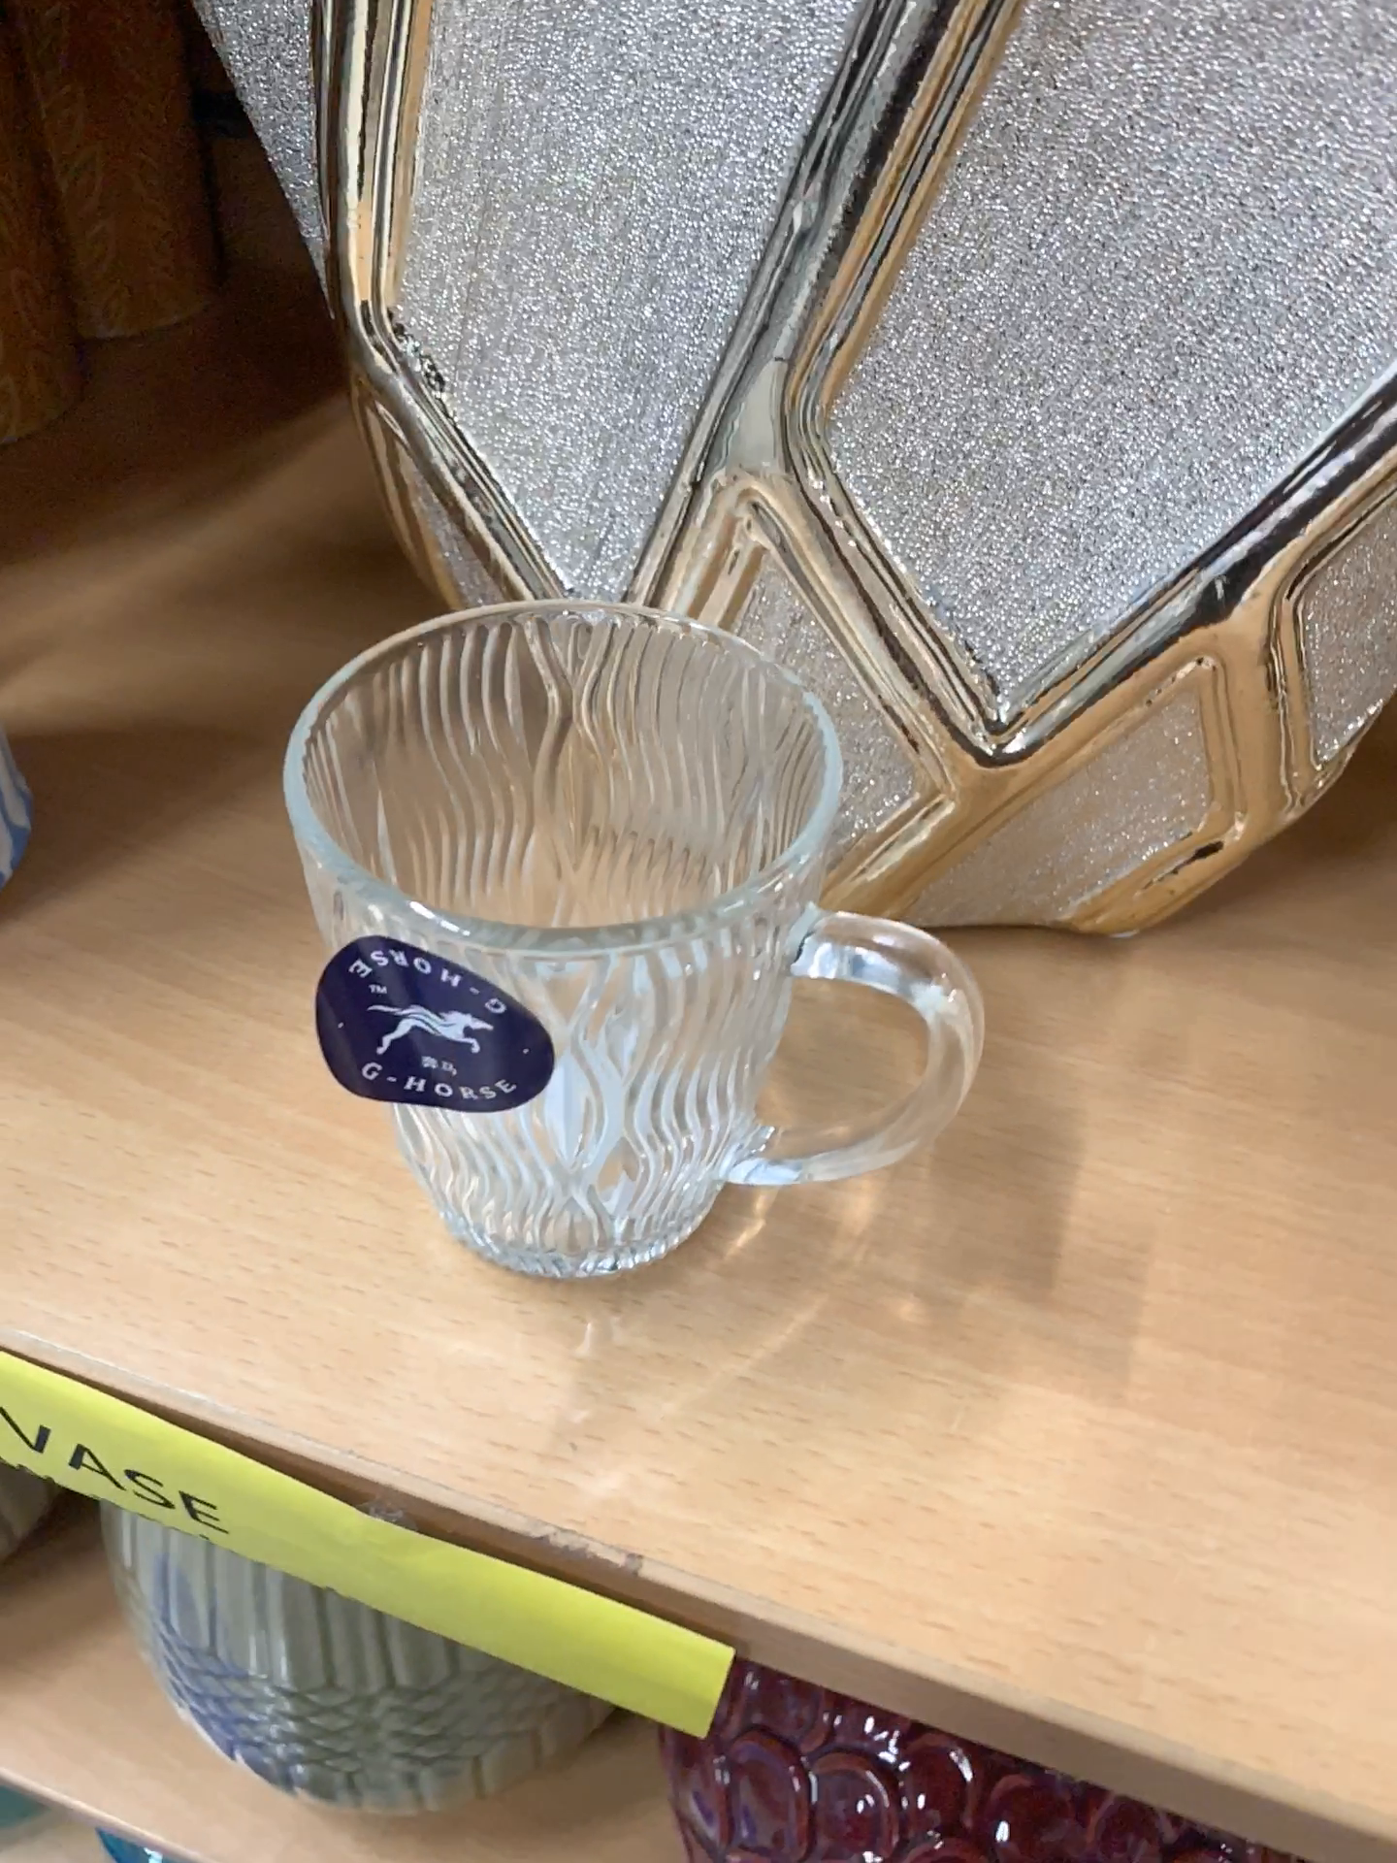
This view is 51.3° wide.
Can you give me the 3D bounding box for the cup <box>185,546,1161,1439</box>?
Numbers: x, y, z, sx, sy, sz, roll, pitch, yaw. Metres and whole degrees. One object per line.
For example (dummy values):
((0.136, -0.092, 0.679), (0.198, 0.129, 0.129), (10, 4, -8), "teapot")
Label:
((0.000, 0.005, 0.198), (0.100, 0.070, 0.070), (15, 43, 11), "cup")
